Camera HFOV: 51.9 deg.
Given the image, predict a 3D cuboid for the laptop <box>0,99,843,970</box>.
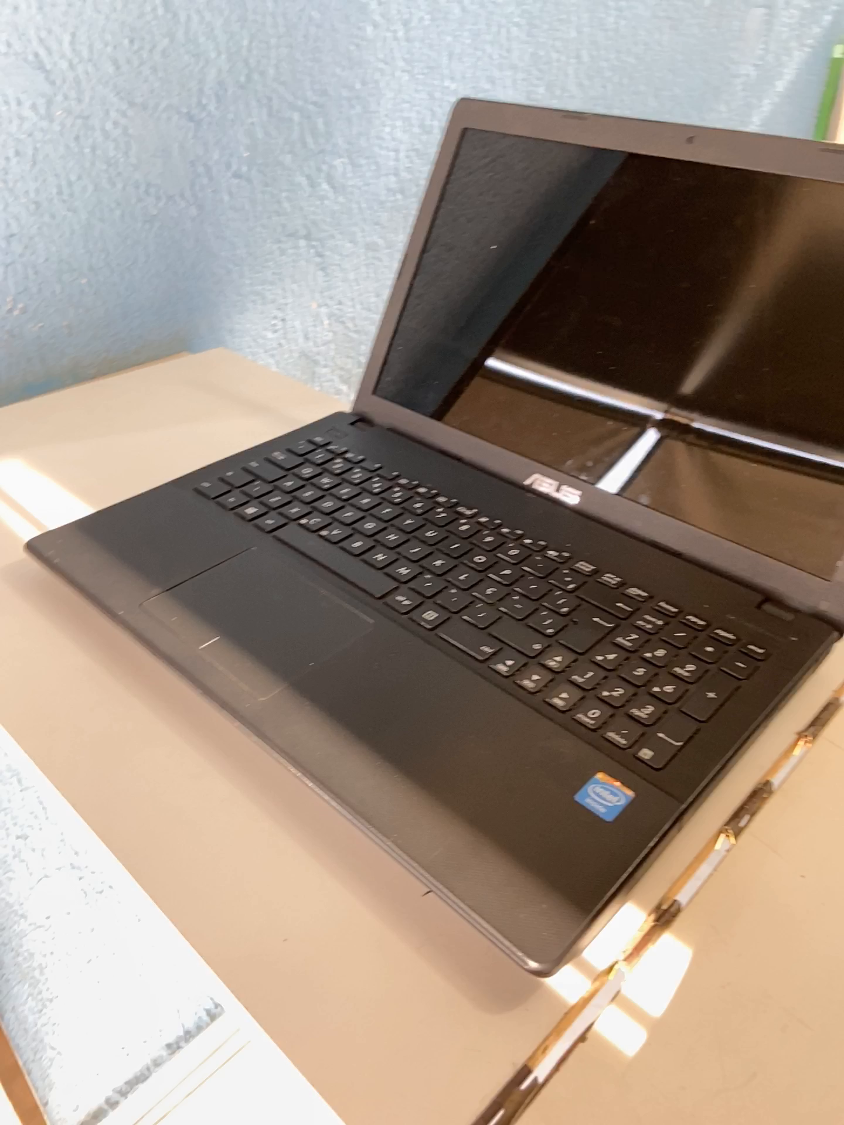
[{"bbox_3d":[0.030,-0.096,0.444,0.368,0.201,0.362,28,43,36],"label":"laptop"}]
